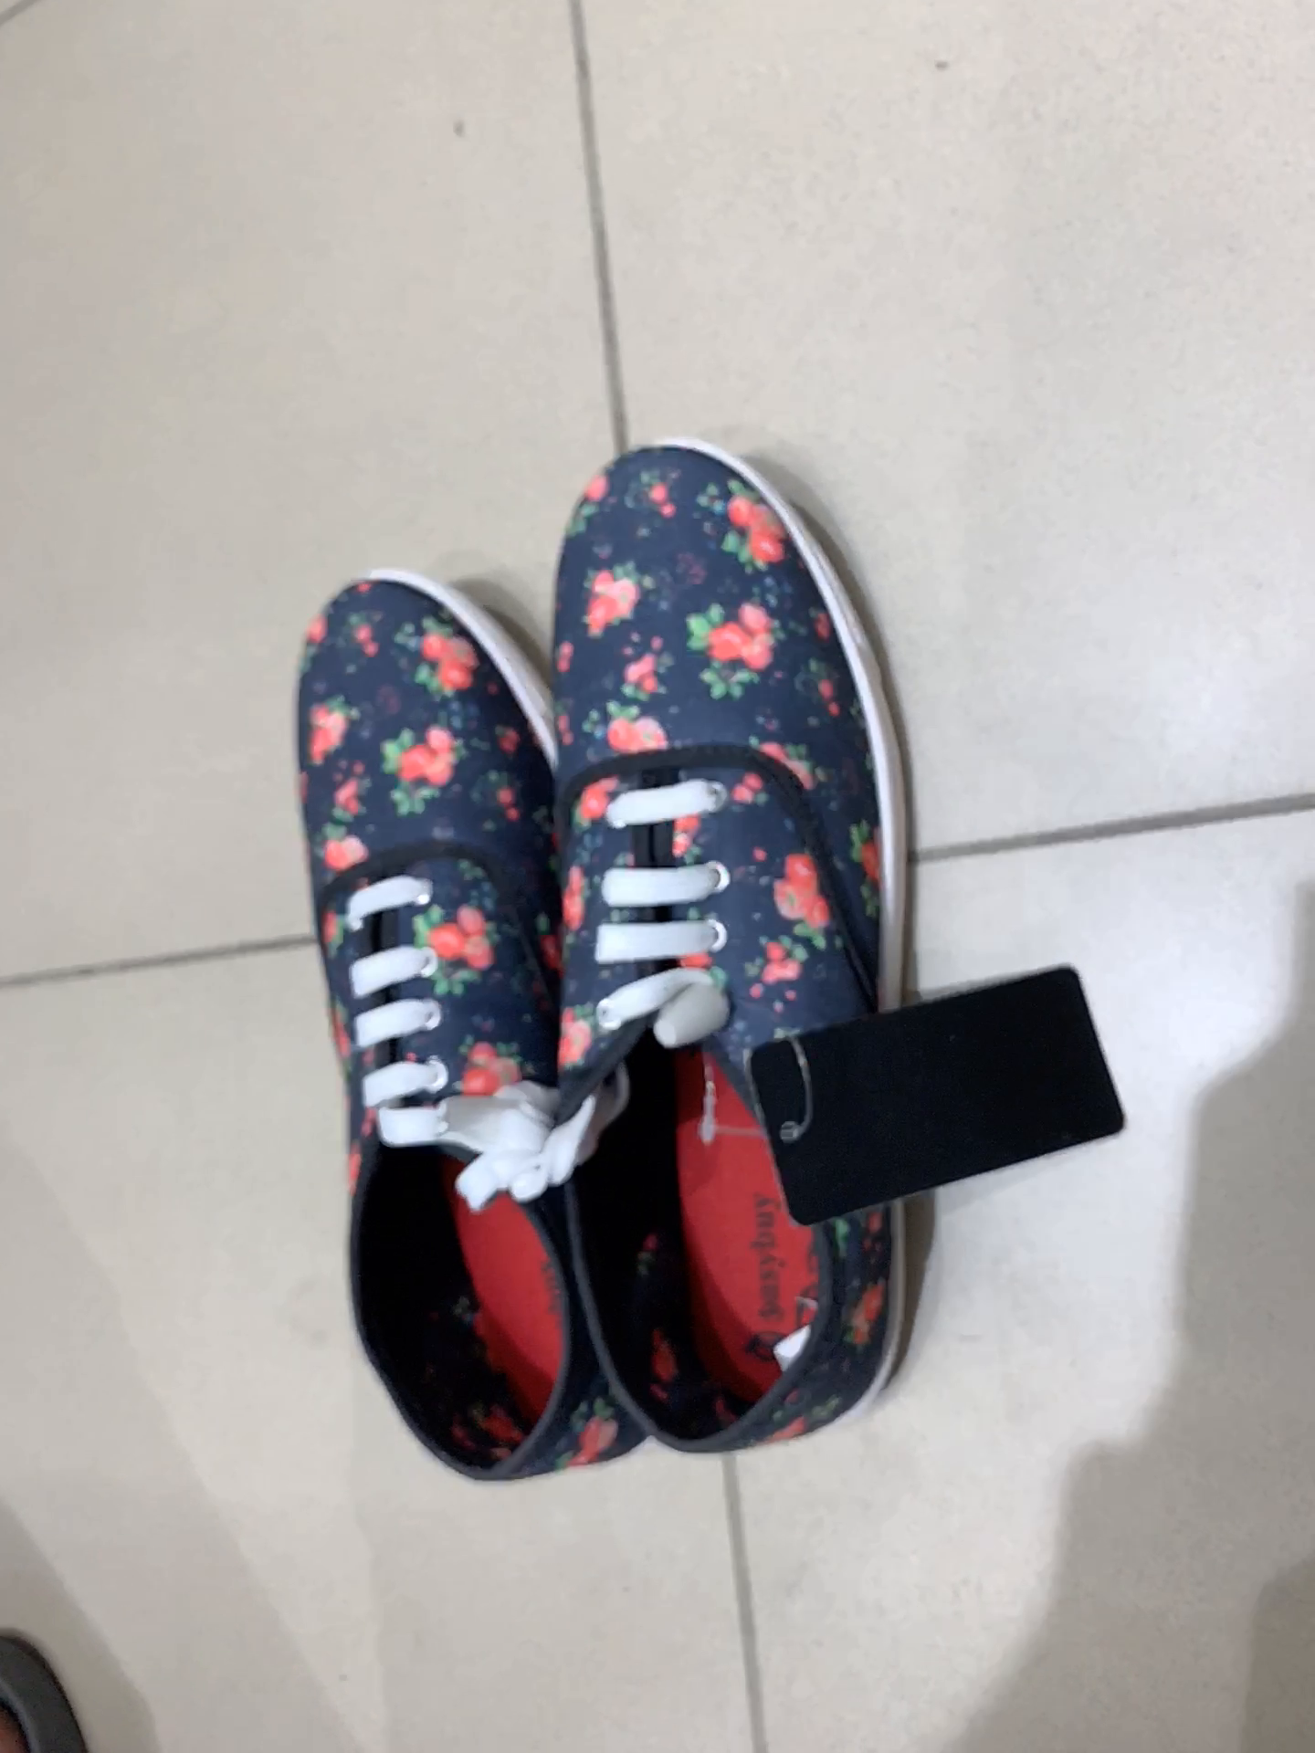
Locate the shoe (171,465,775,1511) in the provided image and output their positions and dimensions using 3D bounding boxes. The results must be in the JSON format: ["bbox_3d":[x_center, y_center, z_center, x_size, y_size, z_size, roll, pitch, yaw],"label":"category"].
[{"bbox_3d":[-0.057,0.033,0.411,0.100,0.080,0.270,-17,81,27],"label":"shoe"}]

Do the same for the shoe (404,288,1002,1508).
[{"bbox_3d":[0.012,0.008,0.359,0.100,0.080,0.270,-9,84,28],"label":"shoe"}]
